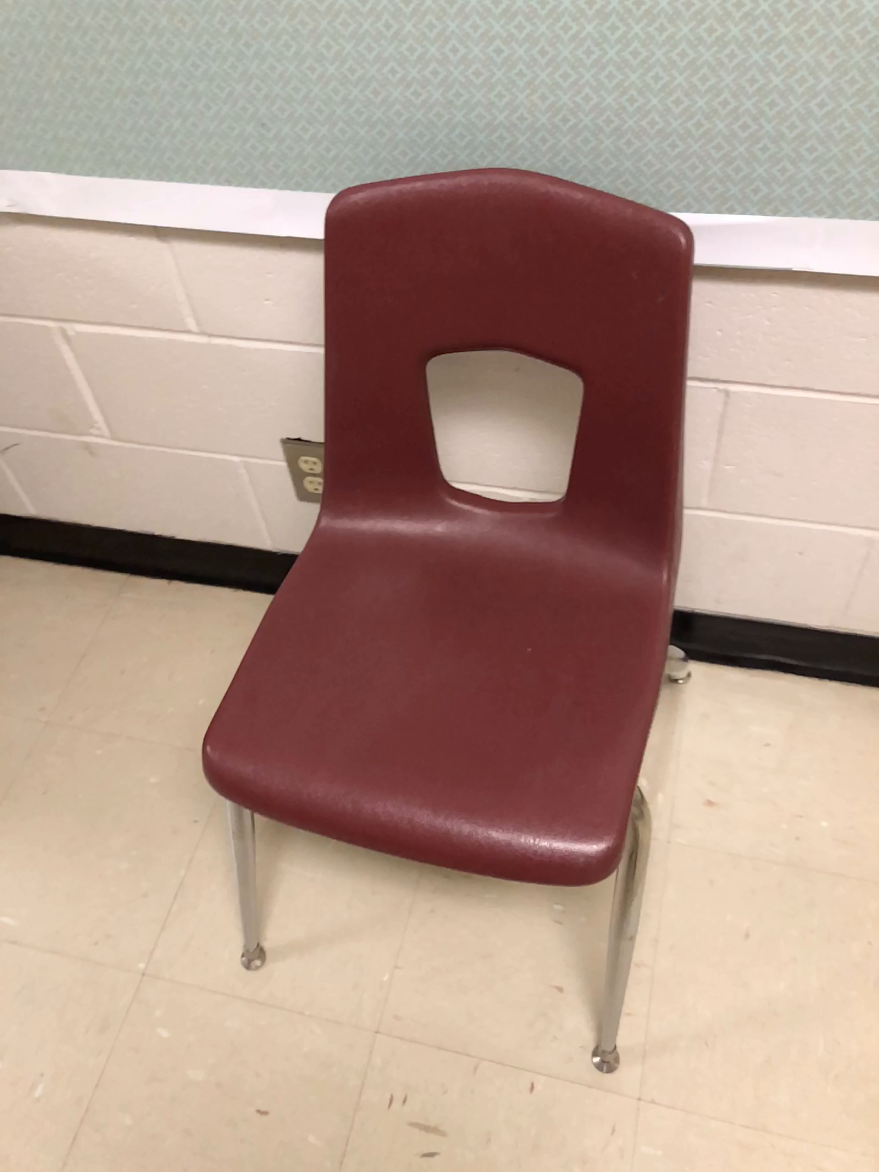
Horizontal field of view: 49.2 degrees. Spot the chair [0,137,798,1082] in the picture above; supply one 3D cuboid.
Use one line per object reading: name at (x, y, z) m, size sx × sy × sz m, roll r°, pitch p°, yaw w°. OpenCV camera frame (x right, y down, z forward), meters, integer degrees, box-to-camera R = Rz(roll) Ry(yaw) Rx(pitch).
chair at (0.007, 0.050, 0.960) m, size 0.504 × 0.707 × 0.556 m, roll 10°, pitch 53°, yaw 14°
